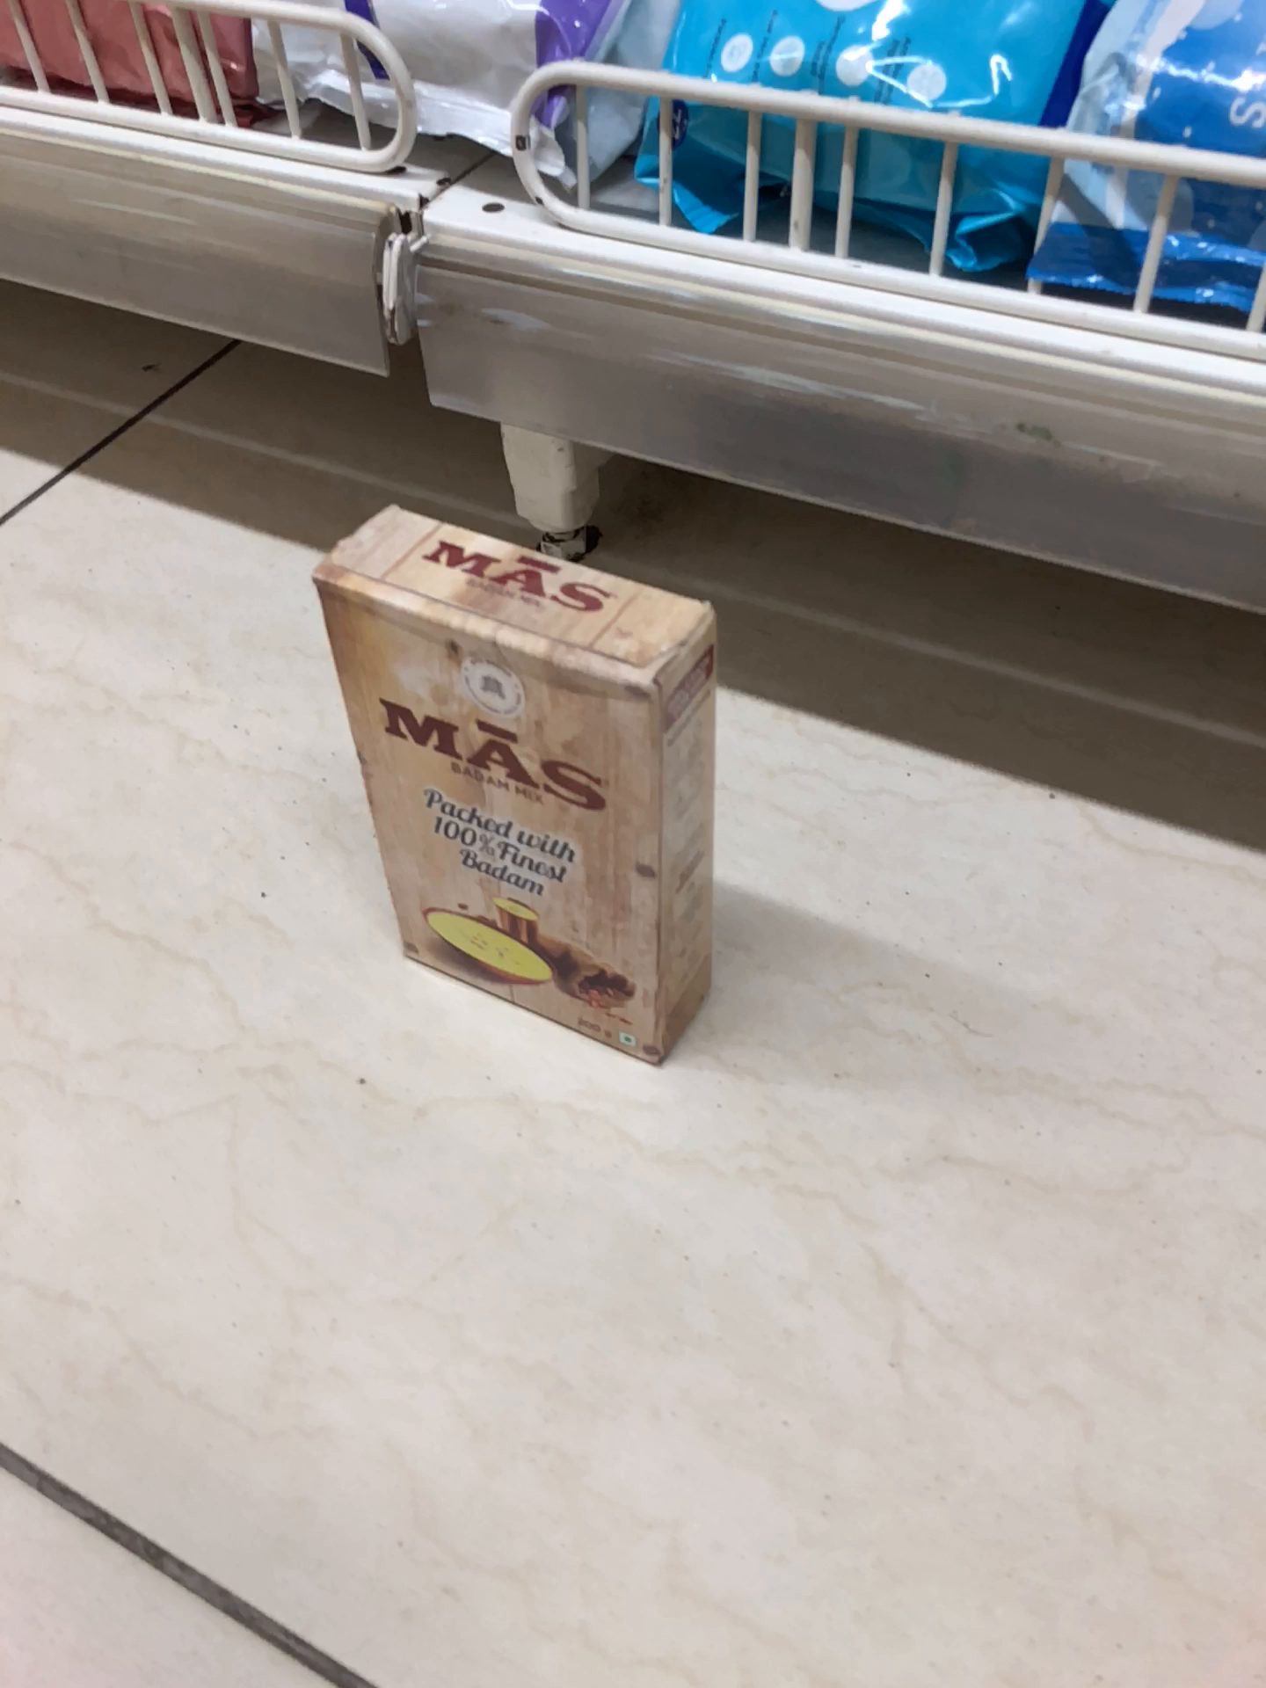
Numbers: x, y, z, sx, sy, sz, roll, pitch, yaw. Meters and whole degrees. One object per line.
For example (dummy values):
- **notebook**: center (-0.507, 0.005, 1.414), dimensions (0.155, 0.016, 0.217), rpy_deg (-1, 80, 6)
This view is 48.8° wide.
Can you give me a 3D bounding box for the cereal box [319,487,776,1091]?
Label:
- **cereal box**: center (-0.018, -0.010, 0.343), dimensions (0.090, 0.129, 0.040), rpy_deg (22, 50, 21)
